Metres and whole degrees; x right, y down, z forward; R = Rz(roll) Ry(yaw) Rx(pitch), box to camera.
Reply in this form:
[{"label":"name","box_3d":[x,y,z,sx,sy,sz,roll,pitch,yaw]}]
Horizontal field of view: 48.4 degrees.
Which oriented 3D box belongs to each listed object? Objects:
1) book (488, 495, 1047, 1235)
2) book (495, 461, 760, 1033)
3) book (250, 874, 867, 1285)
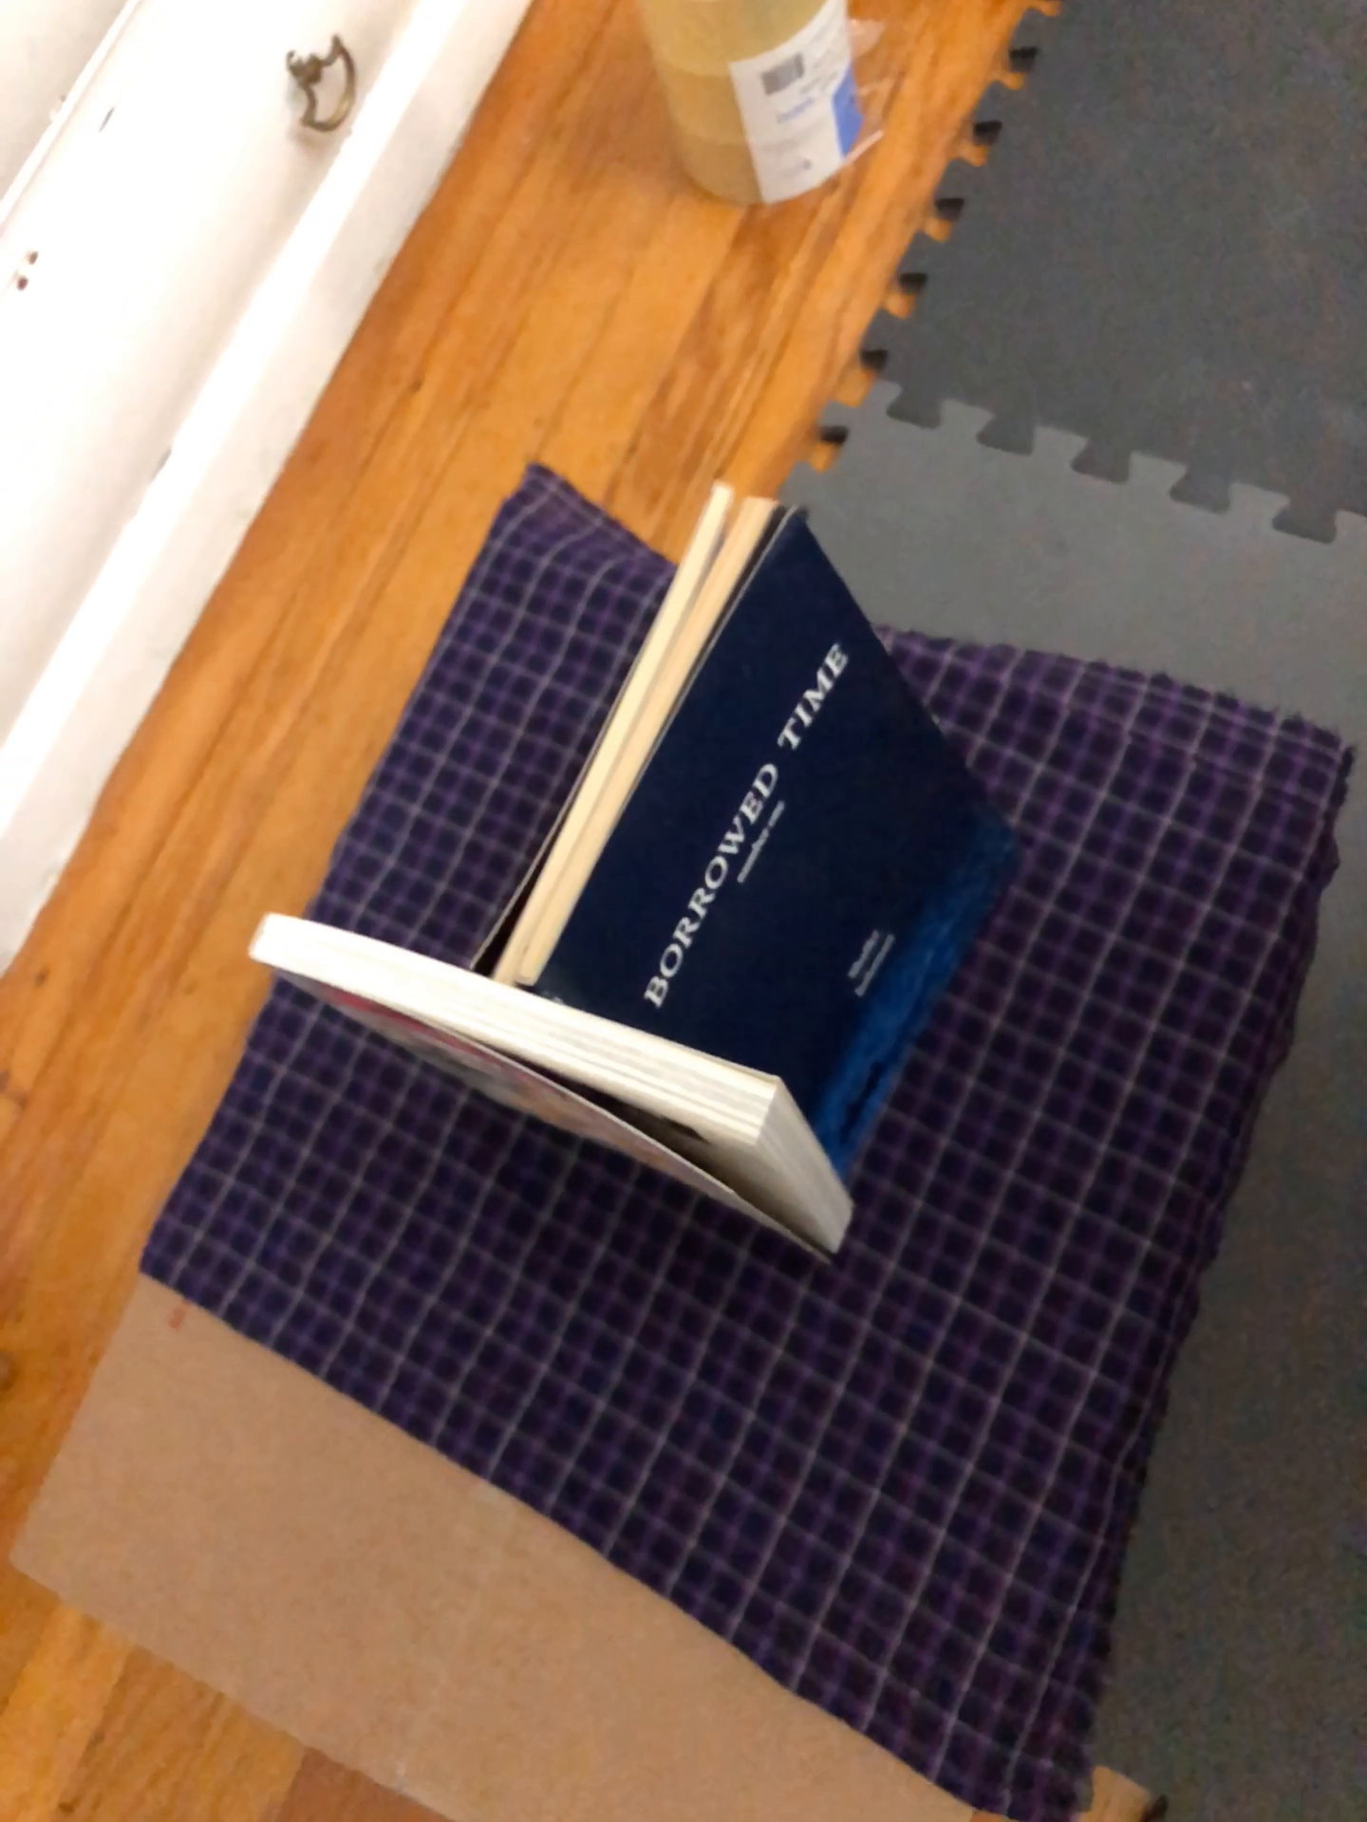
[{"label":"book","box_3d":[0.041,0.001,0.450,0.010,0.199,0.150,19,77,39]},{"label":"book","box_3d":[-0.019,-0.035,0.473,0.010,0.200,0.140,24,81,0]},{"label":"book","box_3d":[-0.023,0.057,0.442,0.140,0.190,0.020,19,72,18]}]
